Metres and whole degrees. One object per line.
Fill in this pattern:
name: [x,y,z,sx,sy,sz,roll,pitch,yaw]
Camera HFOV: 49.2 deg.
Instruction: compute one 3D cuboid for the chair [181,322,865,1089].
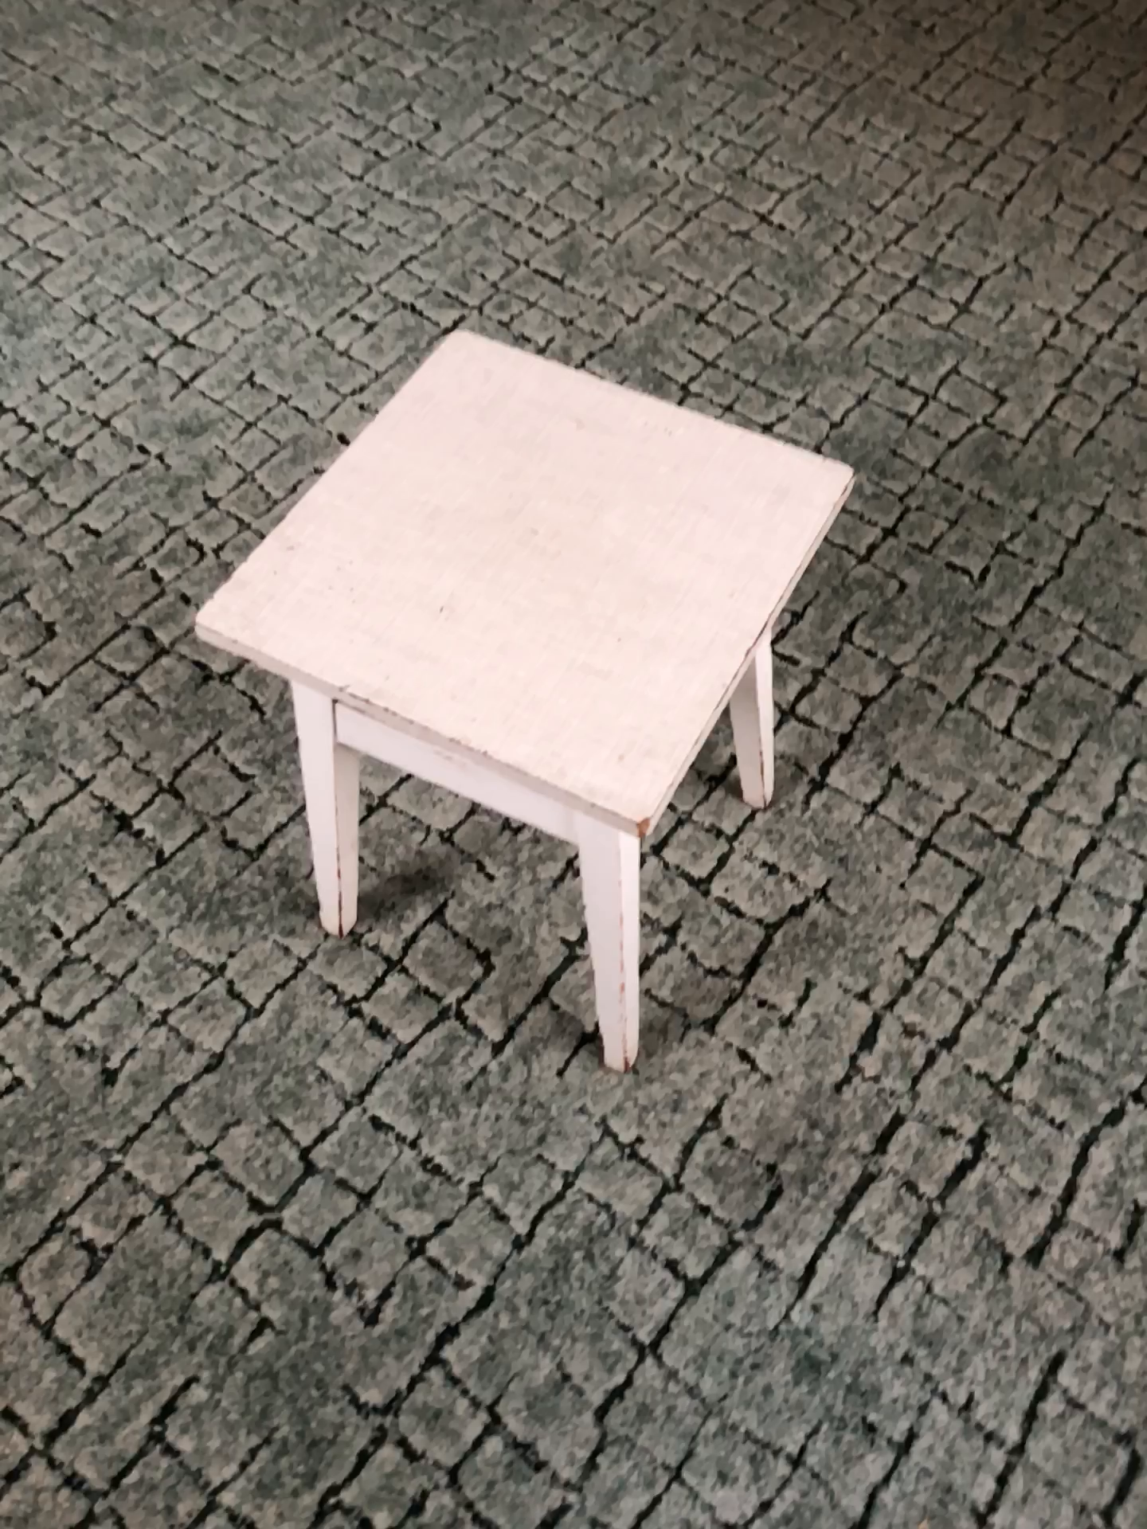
chair: [-0.020,-0.028,1.022,0.334,0.447,0.333,24,61,16]
